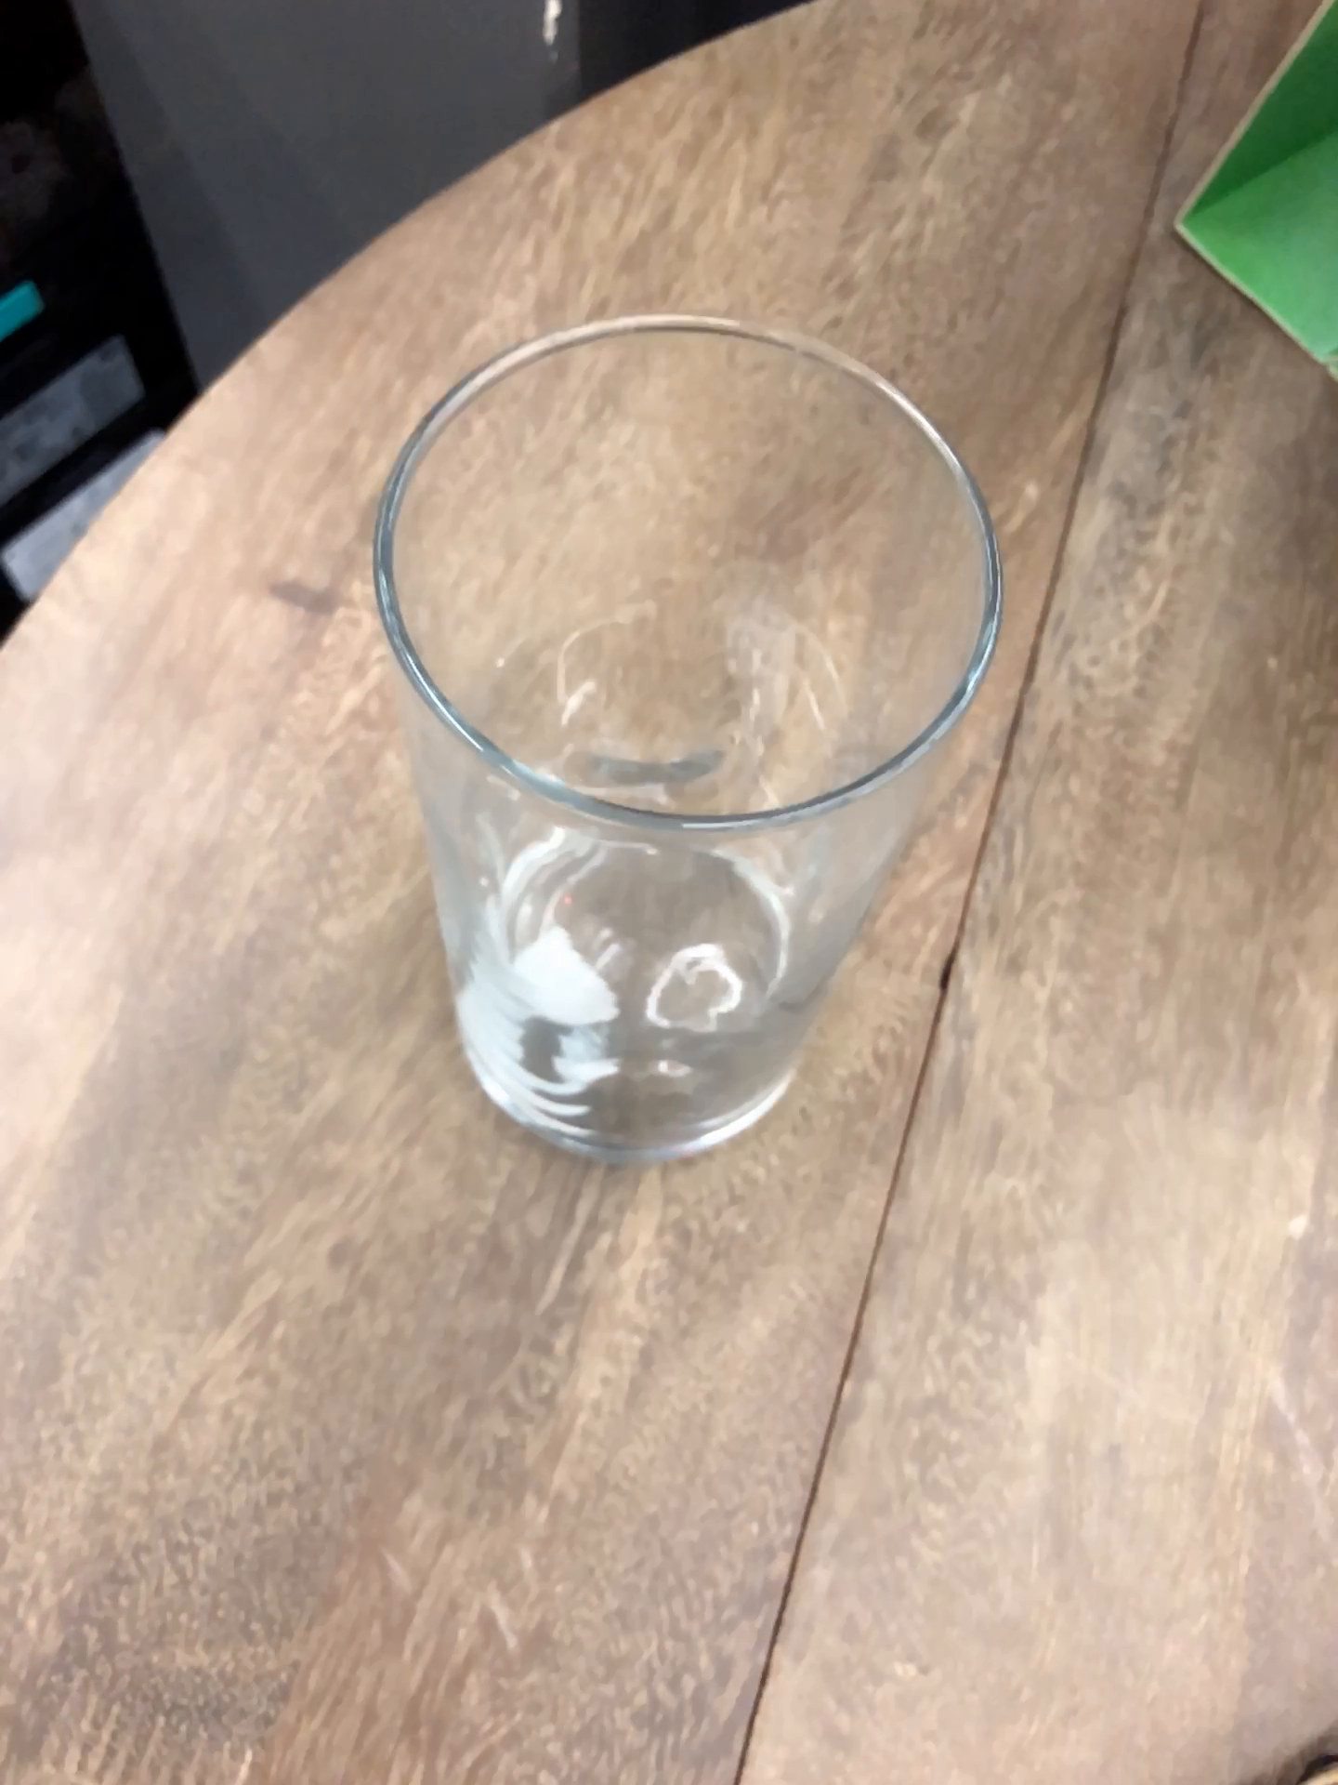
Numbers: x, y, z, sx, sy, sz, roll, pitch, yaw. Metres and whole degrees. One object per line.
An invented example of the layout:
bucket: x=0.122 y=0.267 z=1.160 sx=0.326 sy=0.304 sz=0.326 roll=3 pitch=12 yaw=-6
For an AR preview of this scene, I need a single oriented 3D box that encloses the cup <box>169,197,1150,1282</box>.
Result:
cup: x=-0.004 y=-0.009 z=0.237 sx=0.078 sy=0.144 sz=0.081 roll=1 pitch=65 yaw=-3
